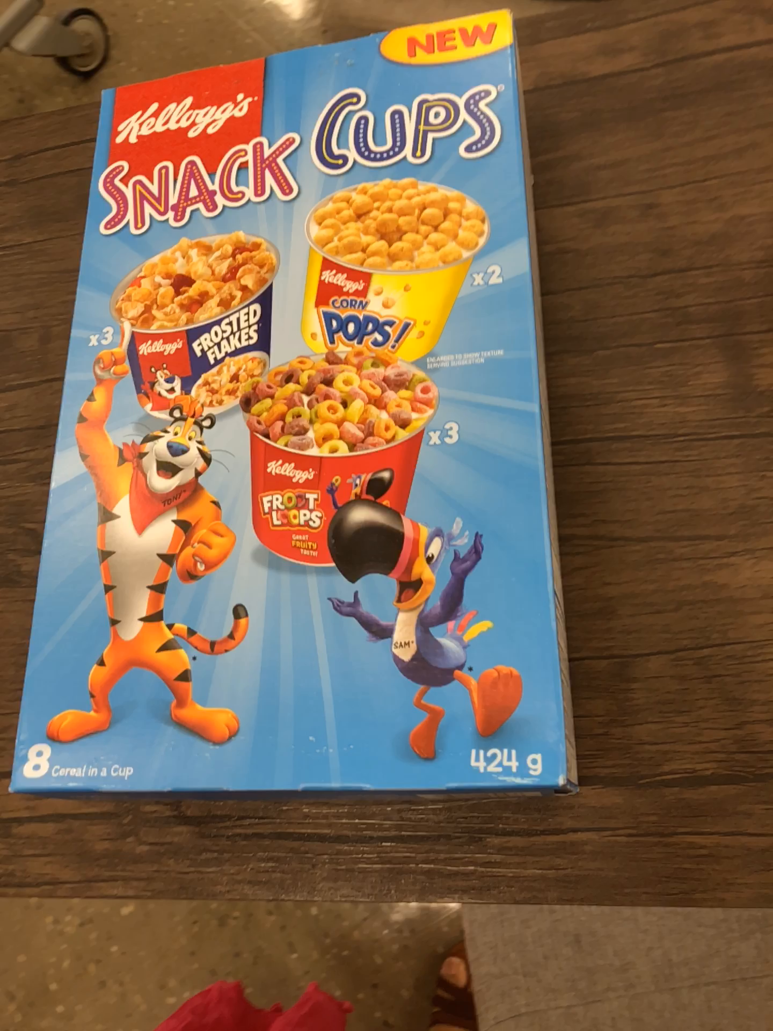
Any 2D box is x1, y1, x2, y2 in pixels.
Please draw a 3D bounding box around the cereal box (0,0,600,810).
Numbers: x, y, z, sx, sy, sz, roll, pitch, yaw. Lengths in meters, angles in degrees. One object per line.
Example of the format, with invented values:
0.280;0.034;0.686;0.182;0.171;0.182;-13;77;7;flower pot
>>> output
-0.031;-0.043;0.385;0.220;0.100;0.330;-4;71;12;cereal box
